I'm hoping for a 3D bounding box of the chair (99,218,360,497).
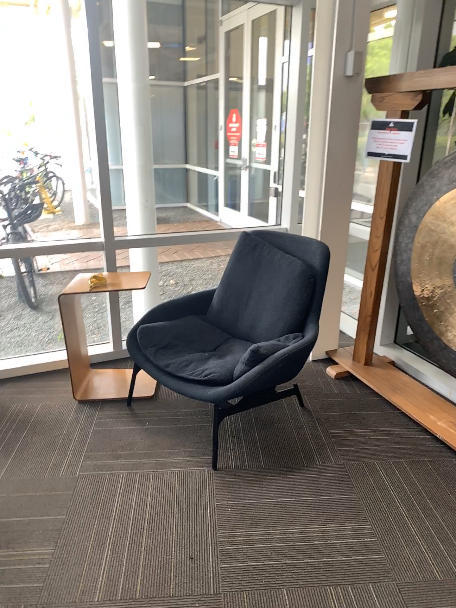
[{"bbox_3d":[0.007,0.151,2.482,0.941,0.995,0.903,-18,27,-42],"label":"chair"}]
